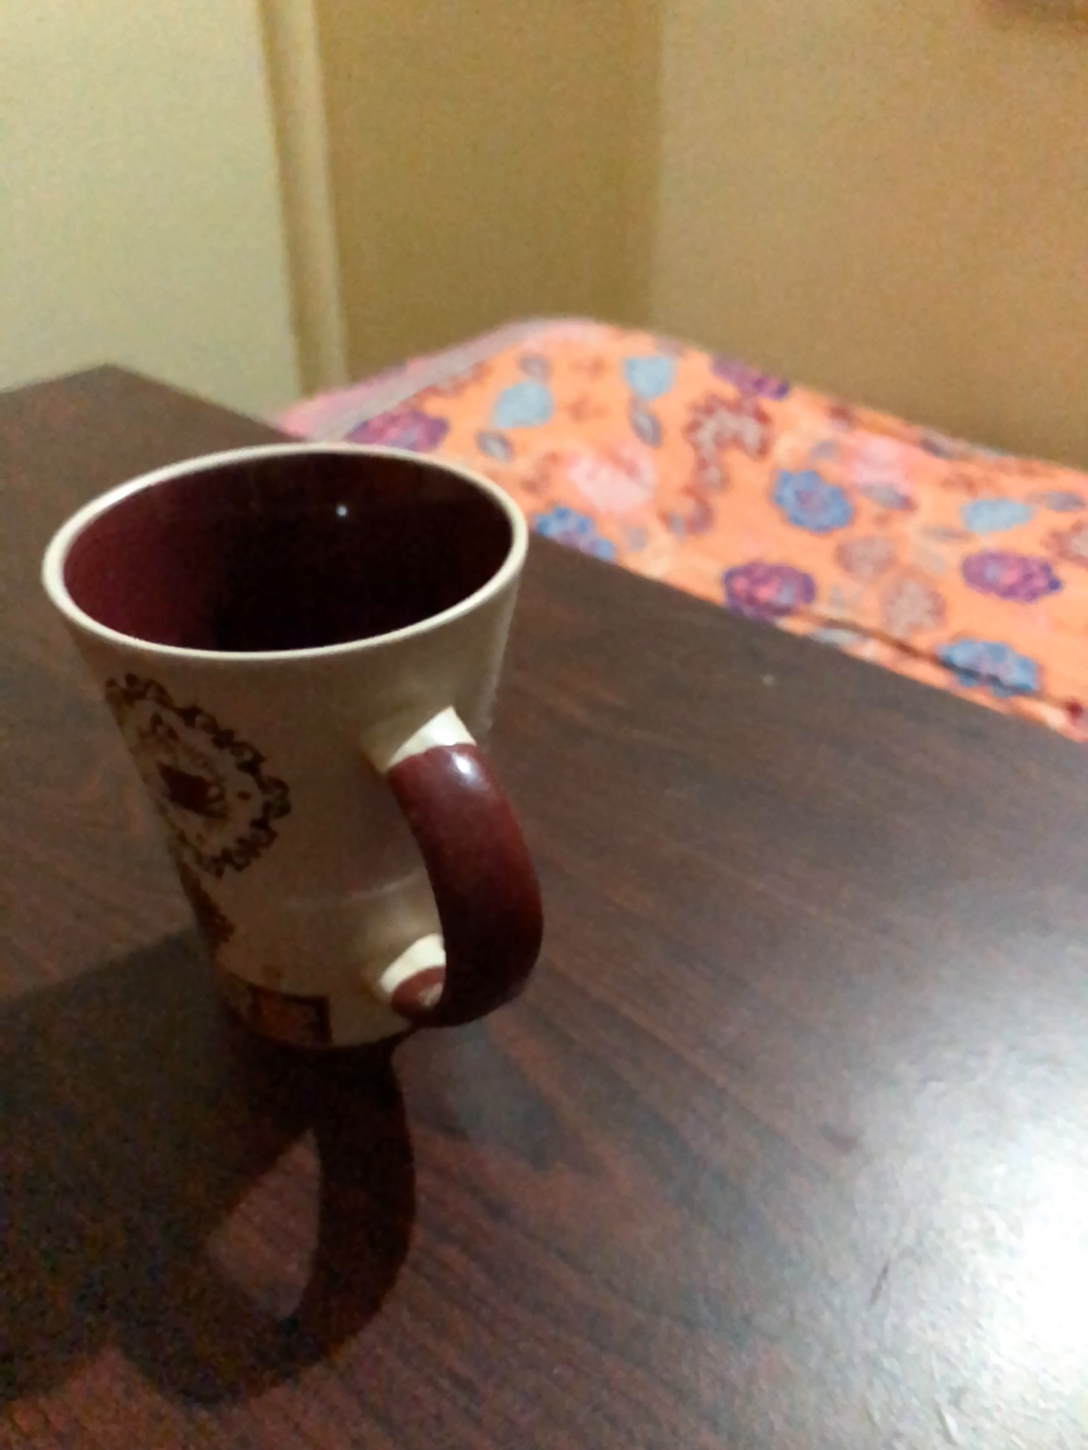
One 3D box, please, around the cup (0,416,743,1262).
[{"bbox_3d":[-0.040,0.011,0.254,0.100,0.099,0.120,-18,38,-25],"label":"cup"}]
